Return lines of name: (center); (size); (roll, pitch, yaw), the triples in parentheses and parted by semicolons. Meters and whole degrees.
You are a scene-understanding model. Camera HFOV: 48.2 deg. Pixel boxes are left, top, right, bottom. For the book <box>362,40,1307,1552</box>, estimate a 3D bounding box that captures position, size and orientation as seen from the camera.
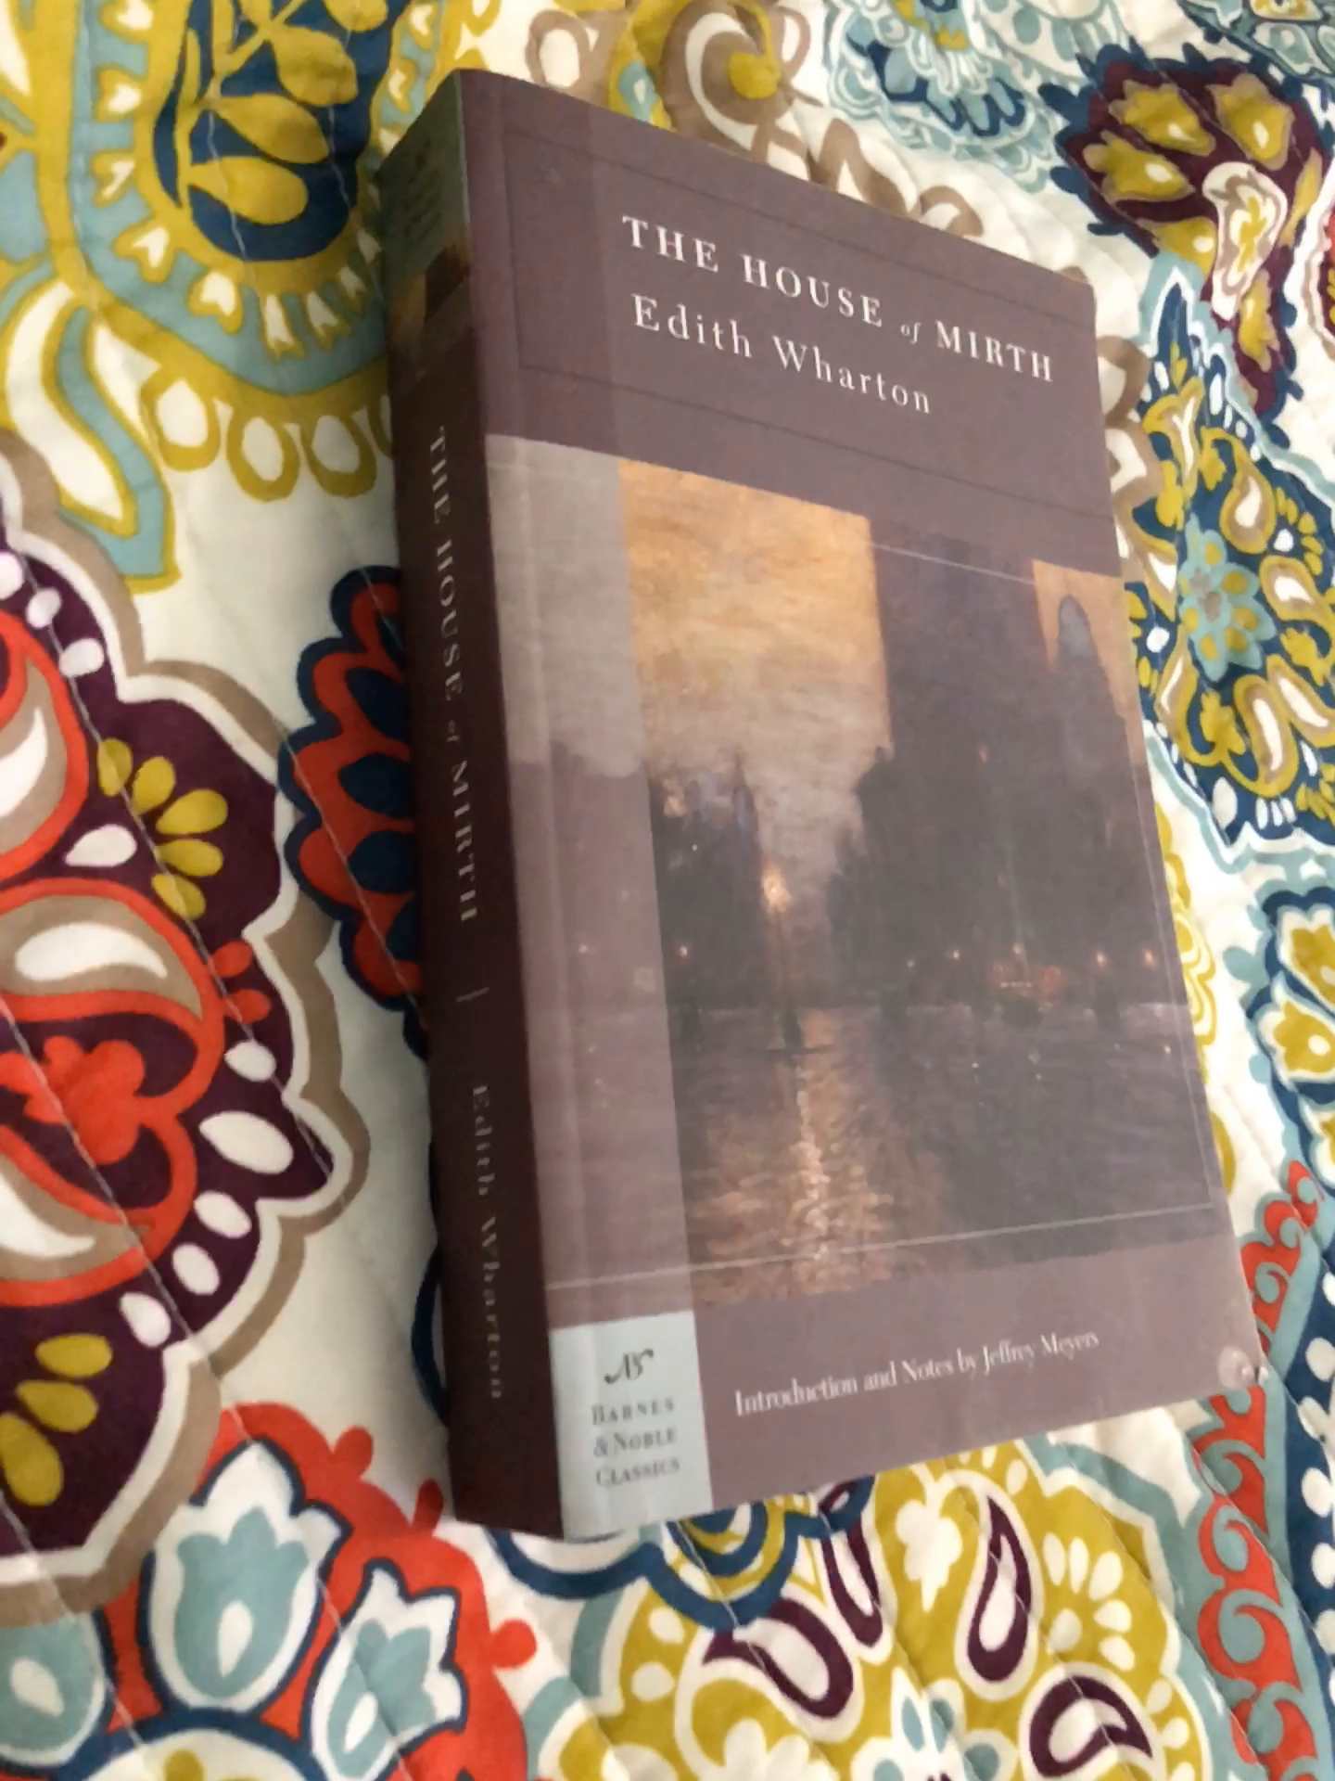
book: (0.029, -0.015, 0.241); (0.142, 0.040, 0.195); (1, 81, -30)
